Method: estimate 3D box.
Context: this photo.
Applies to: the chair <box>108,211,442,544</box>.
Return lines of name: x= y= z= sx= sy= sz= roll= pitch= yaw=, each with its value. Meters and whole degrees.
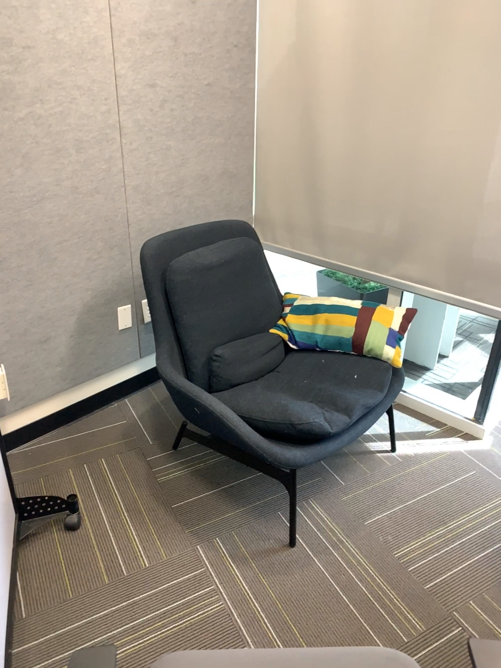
chair: x=0.051 y=0.052 z=2.107 sx=0.791 sy=0.816 sz=1.004 roll=-20 pitch=34 yaw=-37
